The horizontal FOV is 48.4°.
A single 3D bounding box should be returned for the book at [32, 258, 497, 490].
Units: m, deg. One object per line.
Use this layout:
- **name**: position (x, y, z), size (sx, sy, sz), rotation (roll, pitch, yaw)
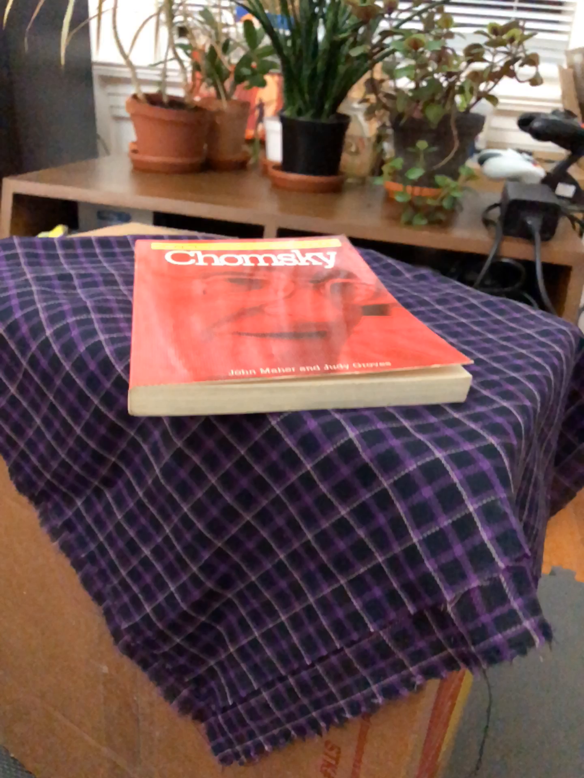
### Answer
- **book**: position (-0.029, -0.029, 0.357), size (0.180, 0.020, 0.241), rotation (-2, 27, -13)
